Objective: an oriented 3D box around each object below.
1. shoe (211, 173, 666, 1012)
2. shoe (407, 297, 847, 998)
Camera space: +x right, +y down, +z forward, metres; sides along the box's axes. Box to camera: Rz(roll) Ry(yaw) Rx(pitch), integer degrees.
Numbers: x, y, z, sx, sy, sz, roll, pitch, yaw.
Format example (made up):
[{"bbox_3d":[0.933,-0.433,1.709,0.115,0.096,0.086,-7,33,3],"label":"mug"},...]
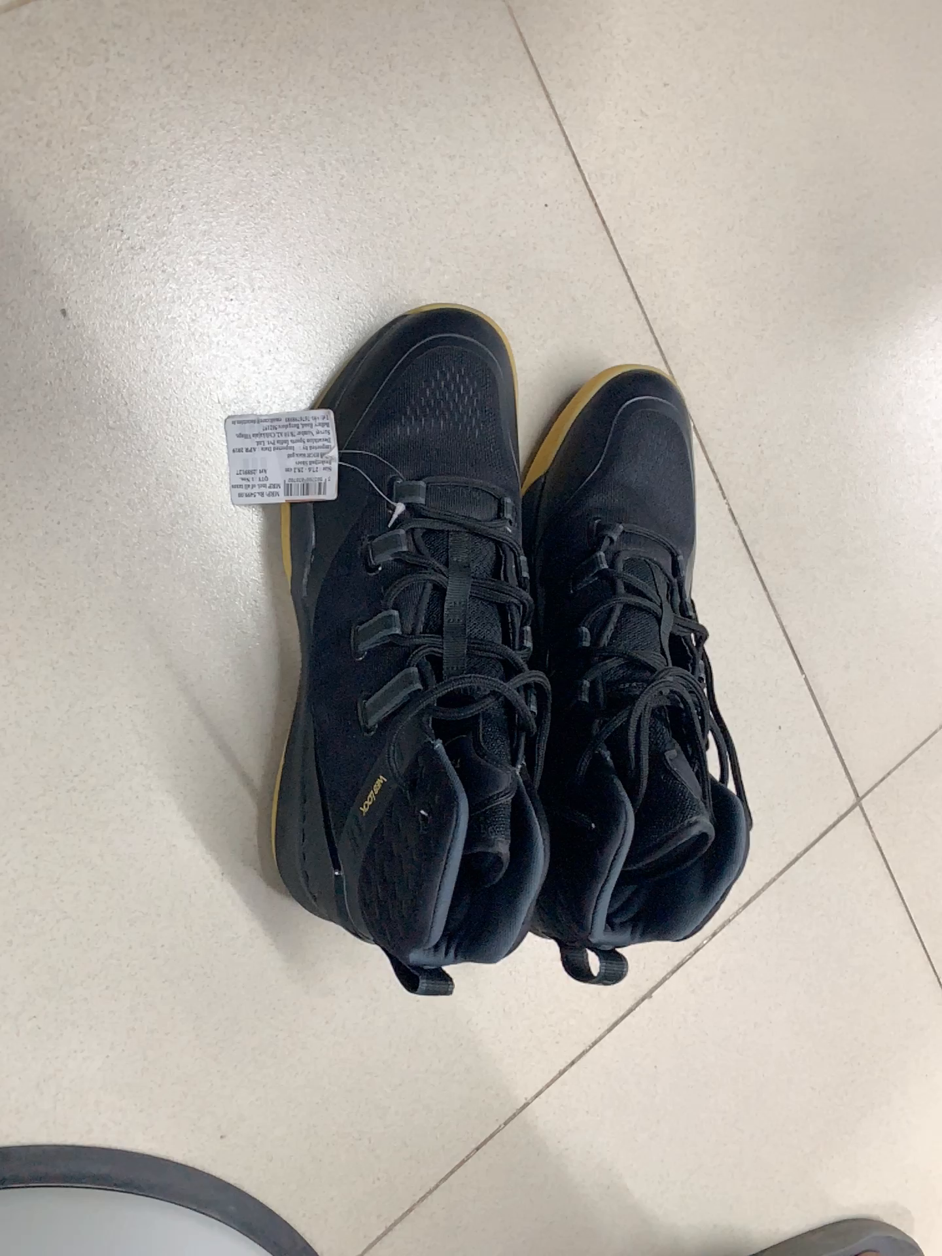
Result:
[{"bbox_3d":[-0.025,-0.009,0.416,0.110,0.140,0.290,8,92,-24],"label":"shoe"},{"bbox_3d":[0.071,0.012,0.461,0.110,0.090,0.290,15,89,-24],"label":"shoe"}]
